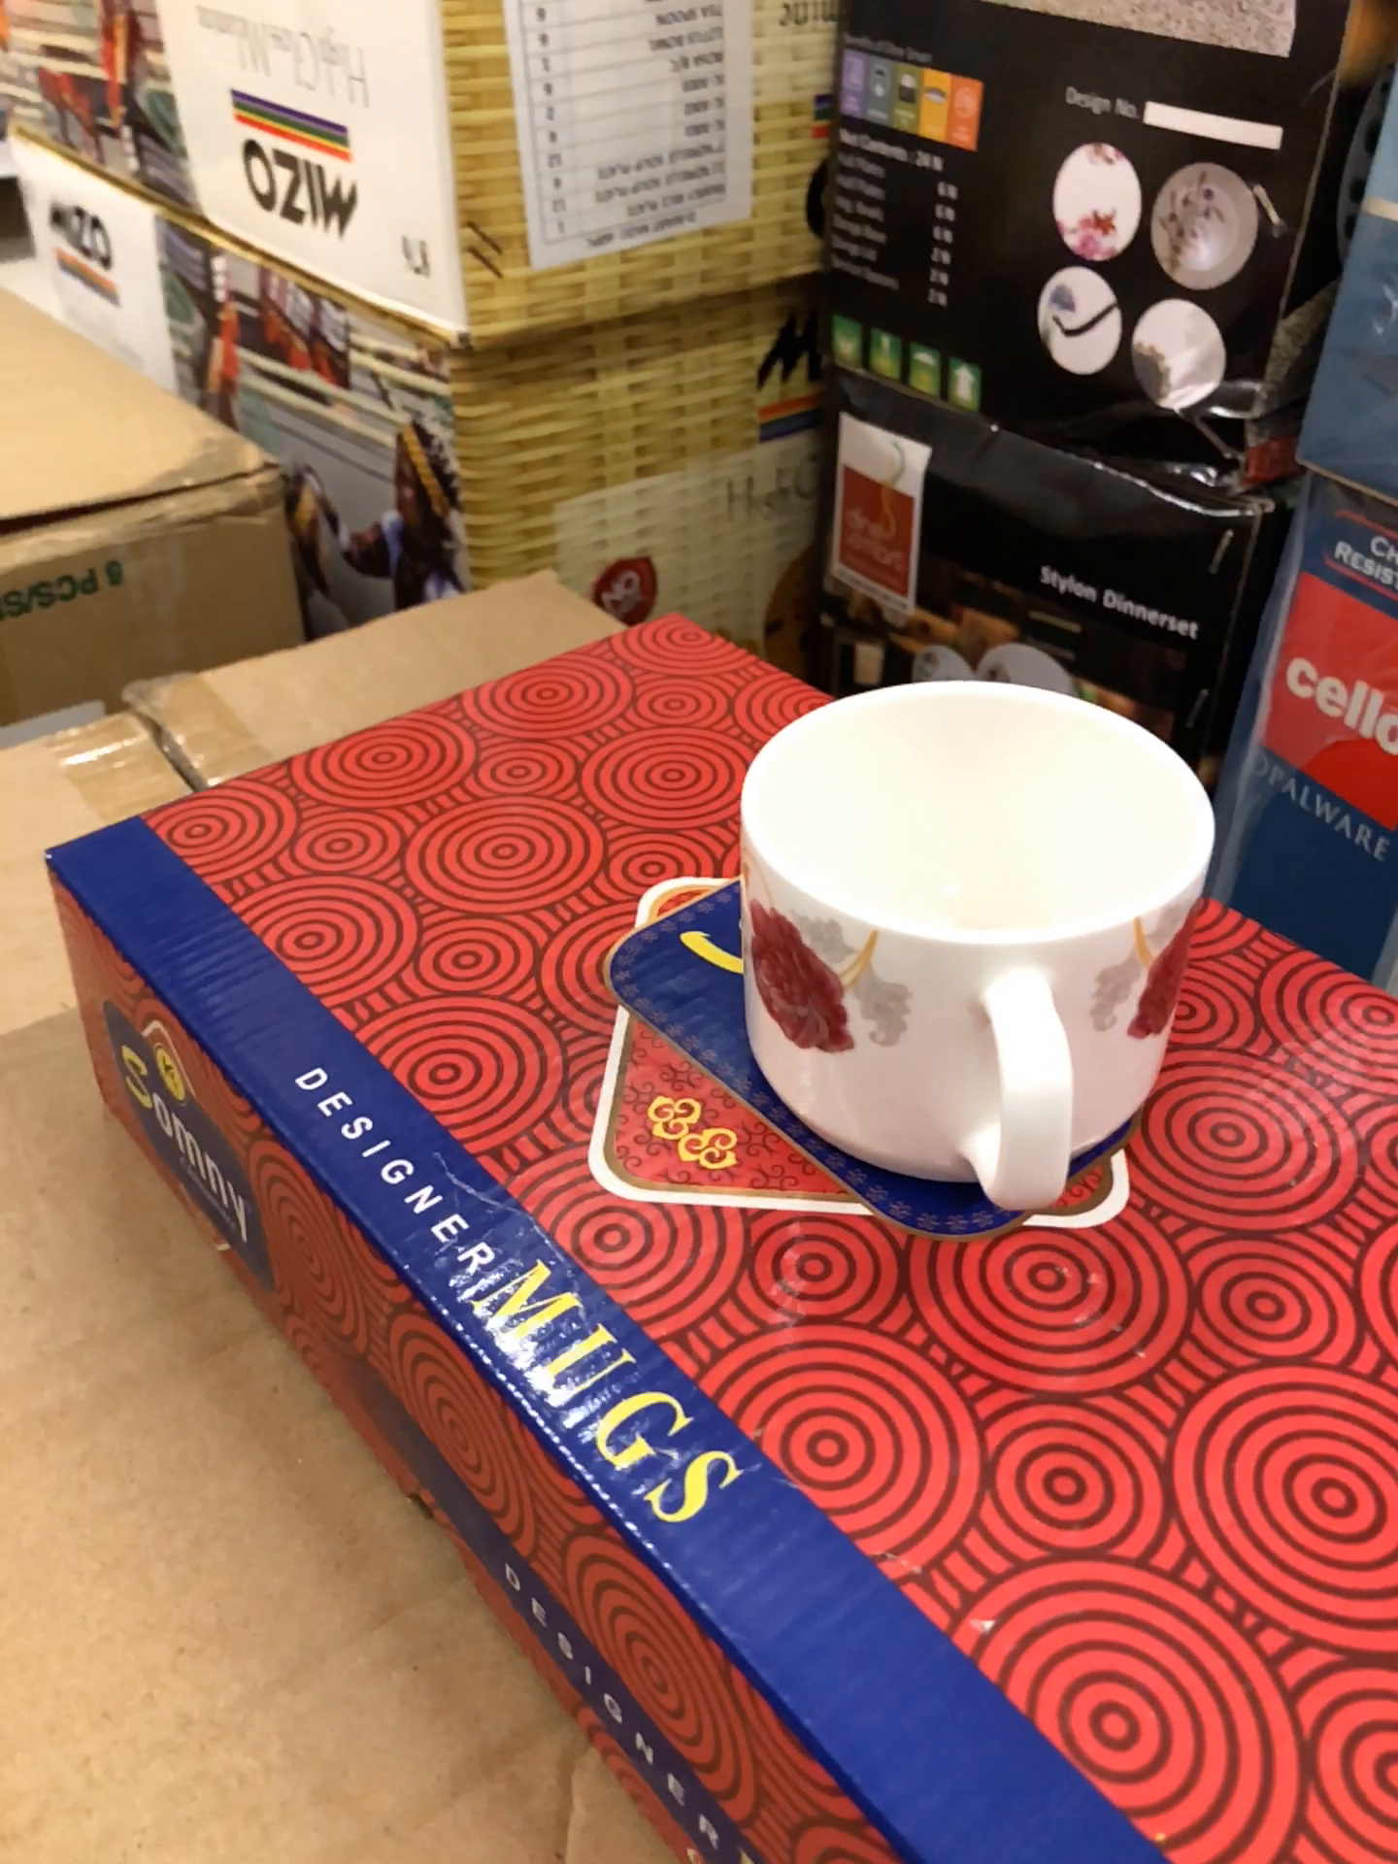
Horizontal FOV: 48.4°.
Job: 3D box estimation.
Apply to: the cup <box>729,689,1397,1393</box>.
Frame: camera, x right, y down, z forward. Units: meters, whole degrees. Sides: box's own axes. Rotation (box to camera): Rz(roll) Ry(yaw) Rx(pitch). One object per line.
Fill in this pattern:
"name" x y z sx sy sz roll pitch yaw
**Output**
"cup" 0.050 0.011 0.240 0.080 0.050 0.101 -3 38 -5
